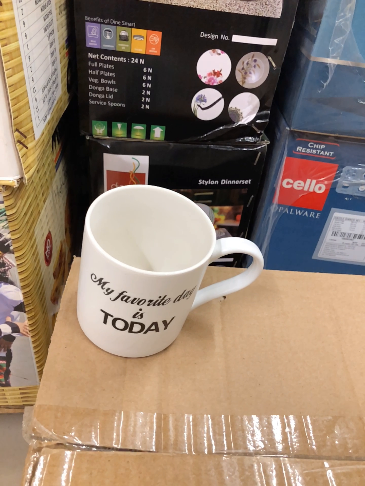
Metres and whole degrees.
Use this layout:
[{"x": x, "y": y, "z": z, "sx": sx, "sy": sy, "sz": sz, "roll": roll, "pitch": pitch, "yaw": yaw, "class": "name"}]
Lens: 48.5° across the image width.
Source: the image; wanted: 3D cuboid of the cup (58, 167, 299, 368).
[{"x": -0.014, "y": 0.019, "z": 0.275, "sx": 0.130, "sy": 0.099, "sz": 0.080, "roll": 2, "pitch": 45, "yaw": -18, "class": "cup"}]
